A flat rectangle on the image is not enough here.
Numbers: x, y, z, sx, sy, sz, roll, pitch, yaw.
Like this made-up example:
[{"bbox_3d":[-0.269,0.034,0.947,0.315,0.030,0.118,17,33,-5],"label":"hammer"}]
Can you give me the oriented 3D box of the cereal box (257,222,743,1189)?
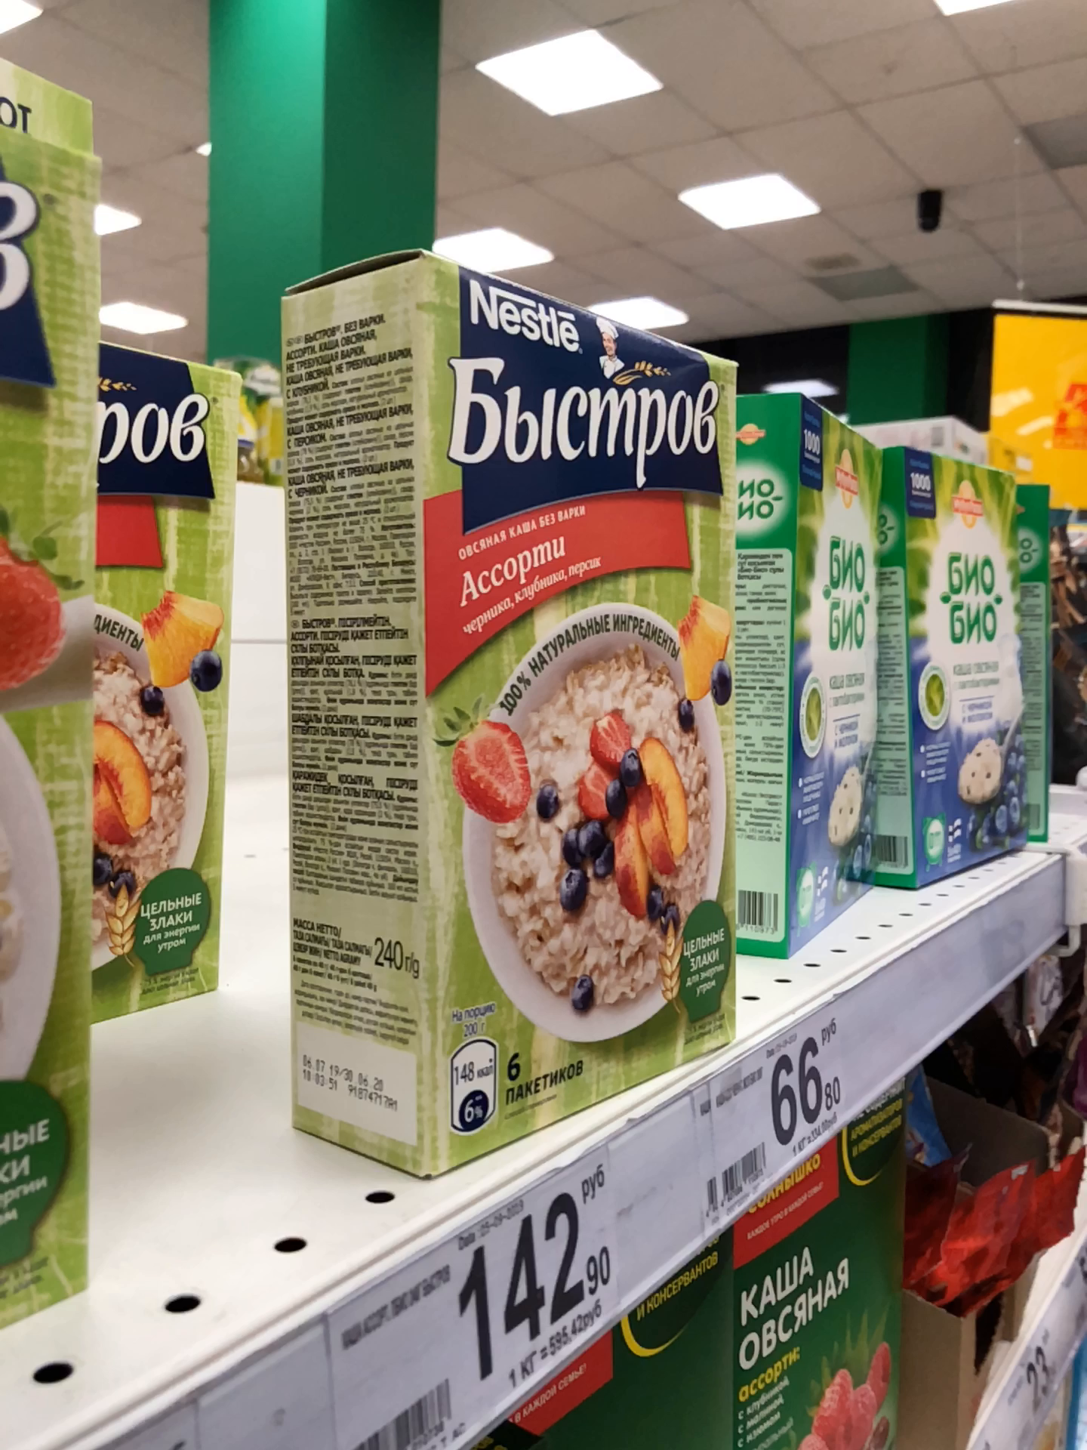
[{"bbox_3d":[-0.004,-0.006,0.314,0.050,0.200,0.130,1,3,41],"label":"cereal box"}]
